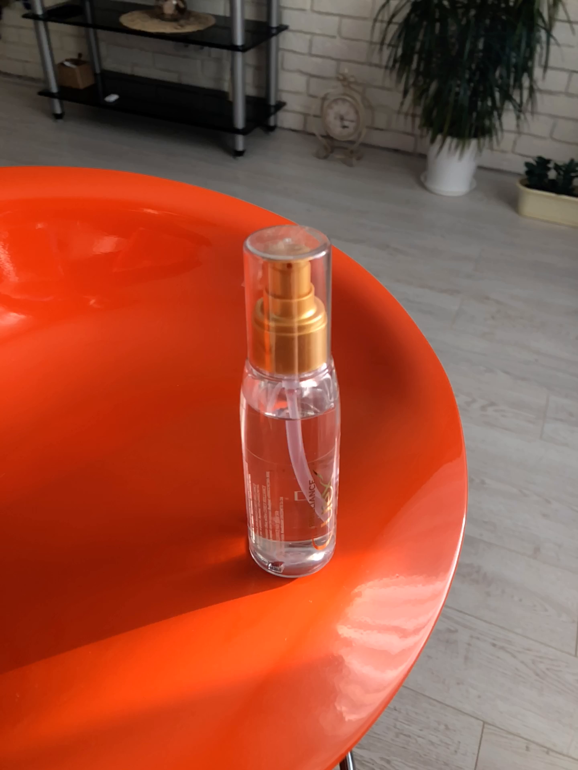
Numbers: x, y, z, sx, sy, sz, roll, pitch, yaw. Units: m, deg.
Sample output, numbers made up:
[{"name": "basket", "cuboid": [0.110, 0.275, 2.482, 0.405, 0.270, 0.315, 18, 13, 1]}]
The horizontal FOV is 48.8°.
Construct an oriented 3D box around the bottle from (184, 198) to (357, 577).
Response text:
[{"name": "bottle", "cuboid": [-0.001, 0.007, 0.255, 0.050, 0.149, 0.050, -2, 36, 1]}]
